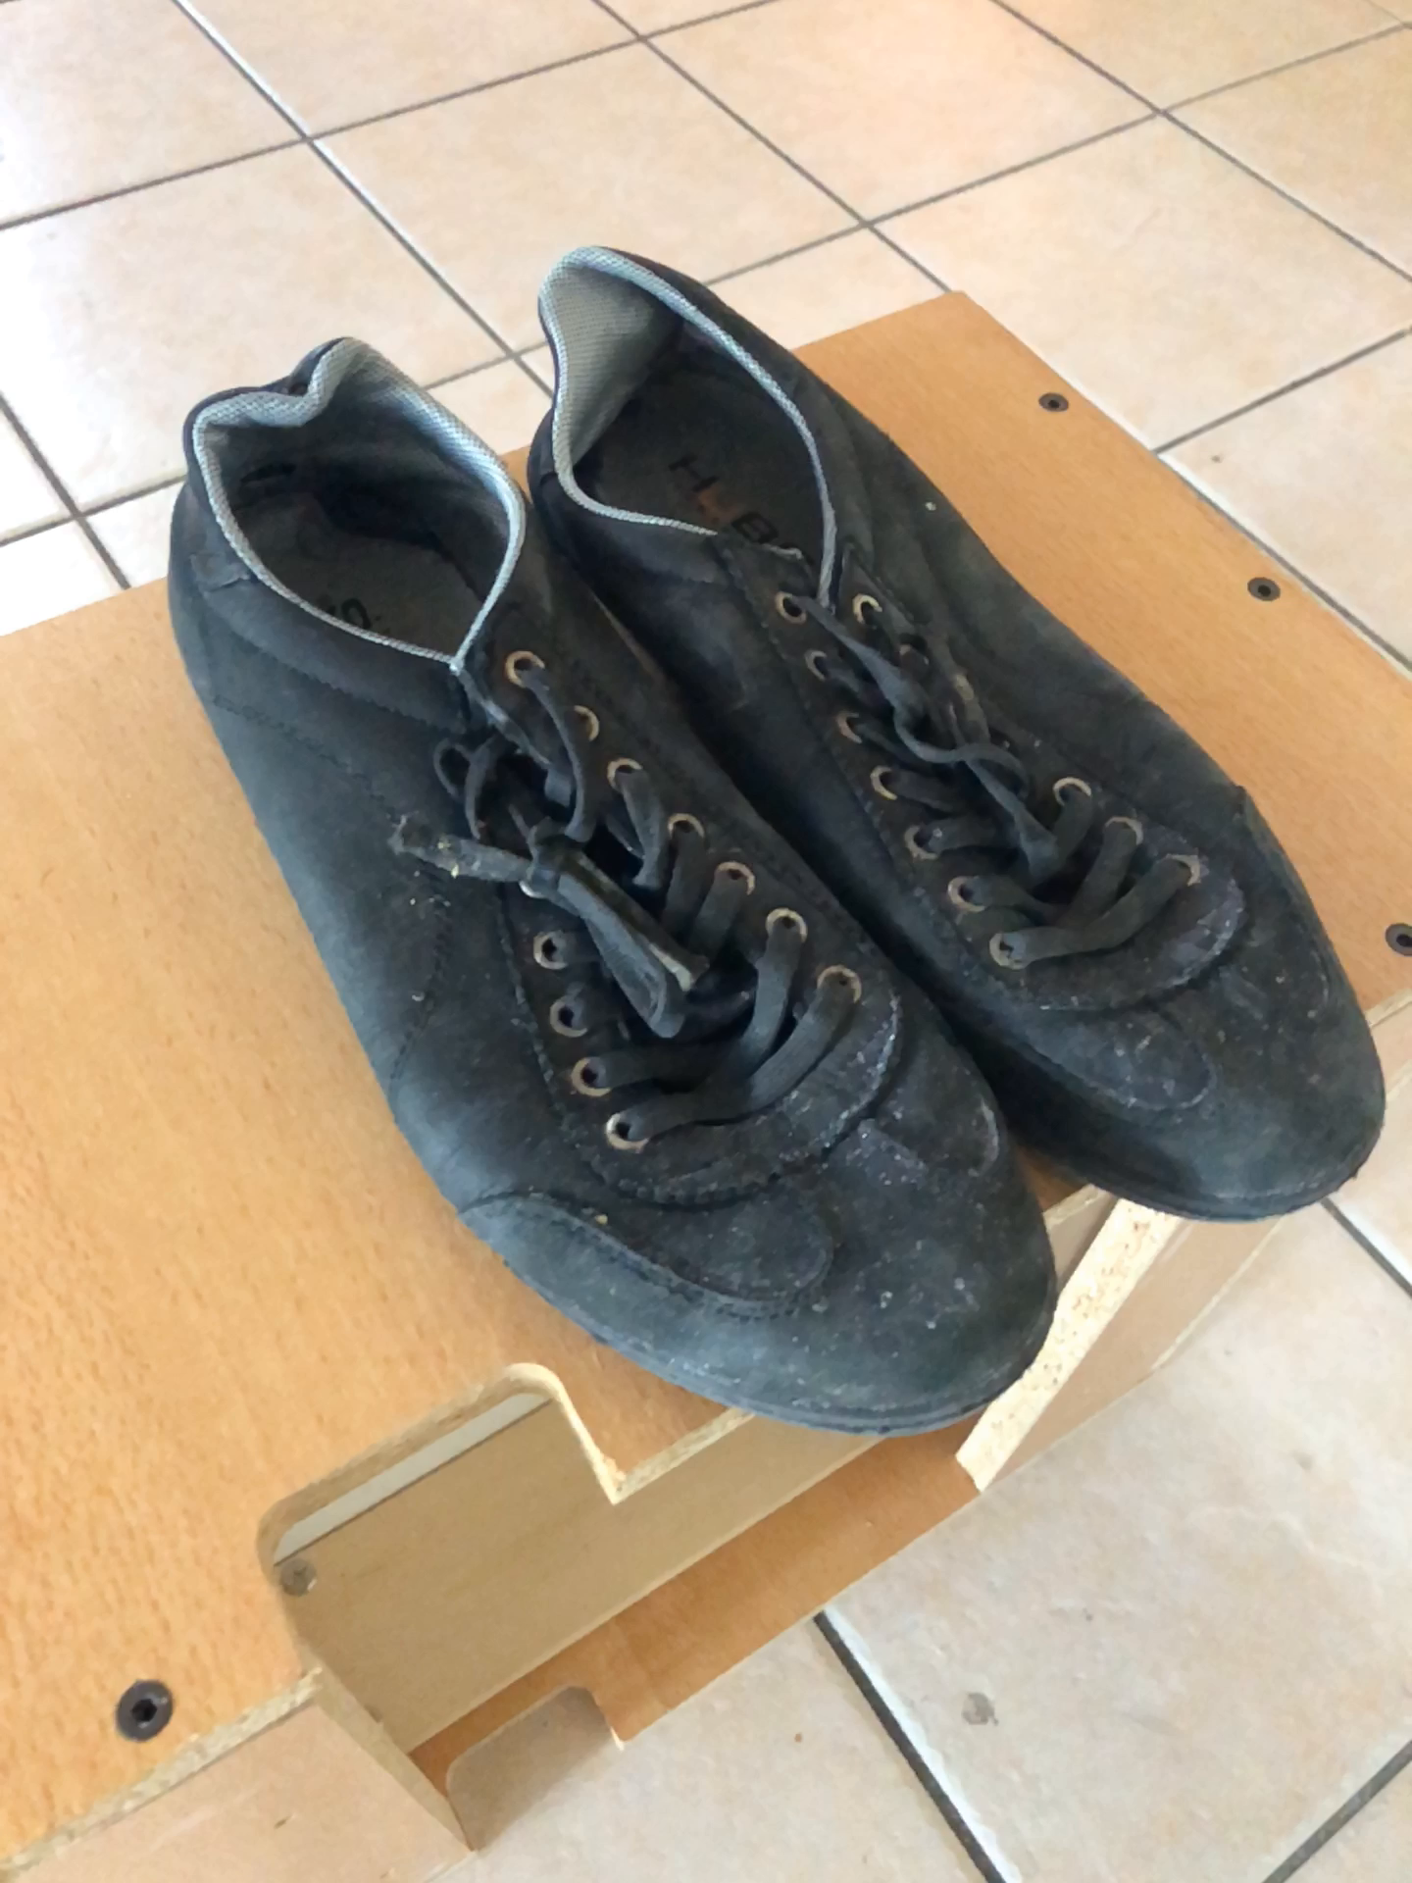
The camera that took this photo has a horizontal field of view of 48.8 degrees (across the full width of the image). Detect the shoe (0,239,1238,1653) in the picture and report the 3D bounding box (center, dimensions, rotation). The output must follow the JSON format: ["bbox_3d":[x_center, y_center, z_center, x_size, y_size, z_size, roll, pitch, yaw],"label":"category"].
[{"bbox_3d":[-0.046,-0.021,0.340,0.110,0.089,0.301,-30,63,-21],"label":"shoe"}]

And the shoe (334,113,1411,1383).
[{"bbox_3d":[0.042,-0.066,0.371,0.110,0.089,0.311,-30,63,-21],"label":"shoe"}]
